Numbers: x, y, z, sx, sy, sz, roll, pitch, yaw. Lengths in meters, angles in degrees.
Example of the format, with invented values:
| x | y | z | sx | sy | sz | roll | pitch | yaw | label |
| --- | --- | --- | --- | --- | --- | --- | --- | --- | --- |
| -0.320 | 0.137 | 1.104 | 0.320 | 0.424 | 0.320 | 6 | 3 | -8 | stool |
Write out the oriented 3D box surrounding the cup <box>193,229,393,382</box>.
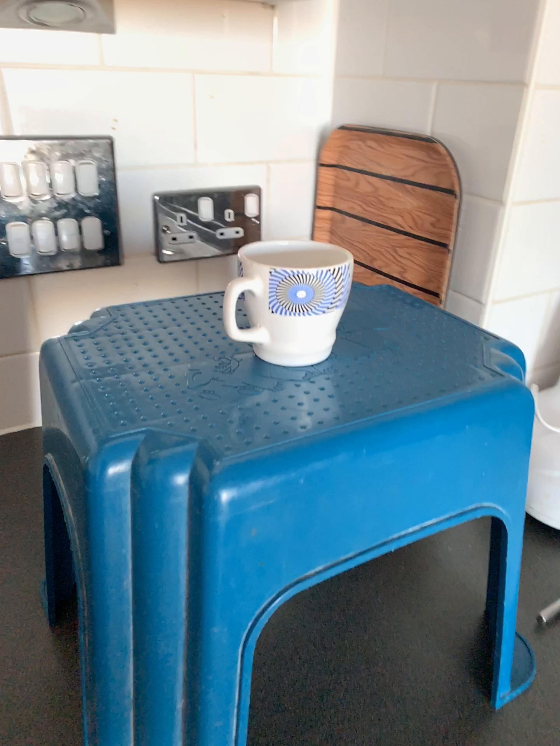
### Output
| x | y | z | sx | sy | sz | roll | pitch | yaw | label |
| --- | --- | --- | --- | --- | --- | --- | --- | --- | --- |
| 0.004 | -0.044 | 0.332 | 0.085 | 0.055 | 0.079 | 2 | 27 | -1 | cup |
